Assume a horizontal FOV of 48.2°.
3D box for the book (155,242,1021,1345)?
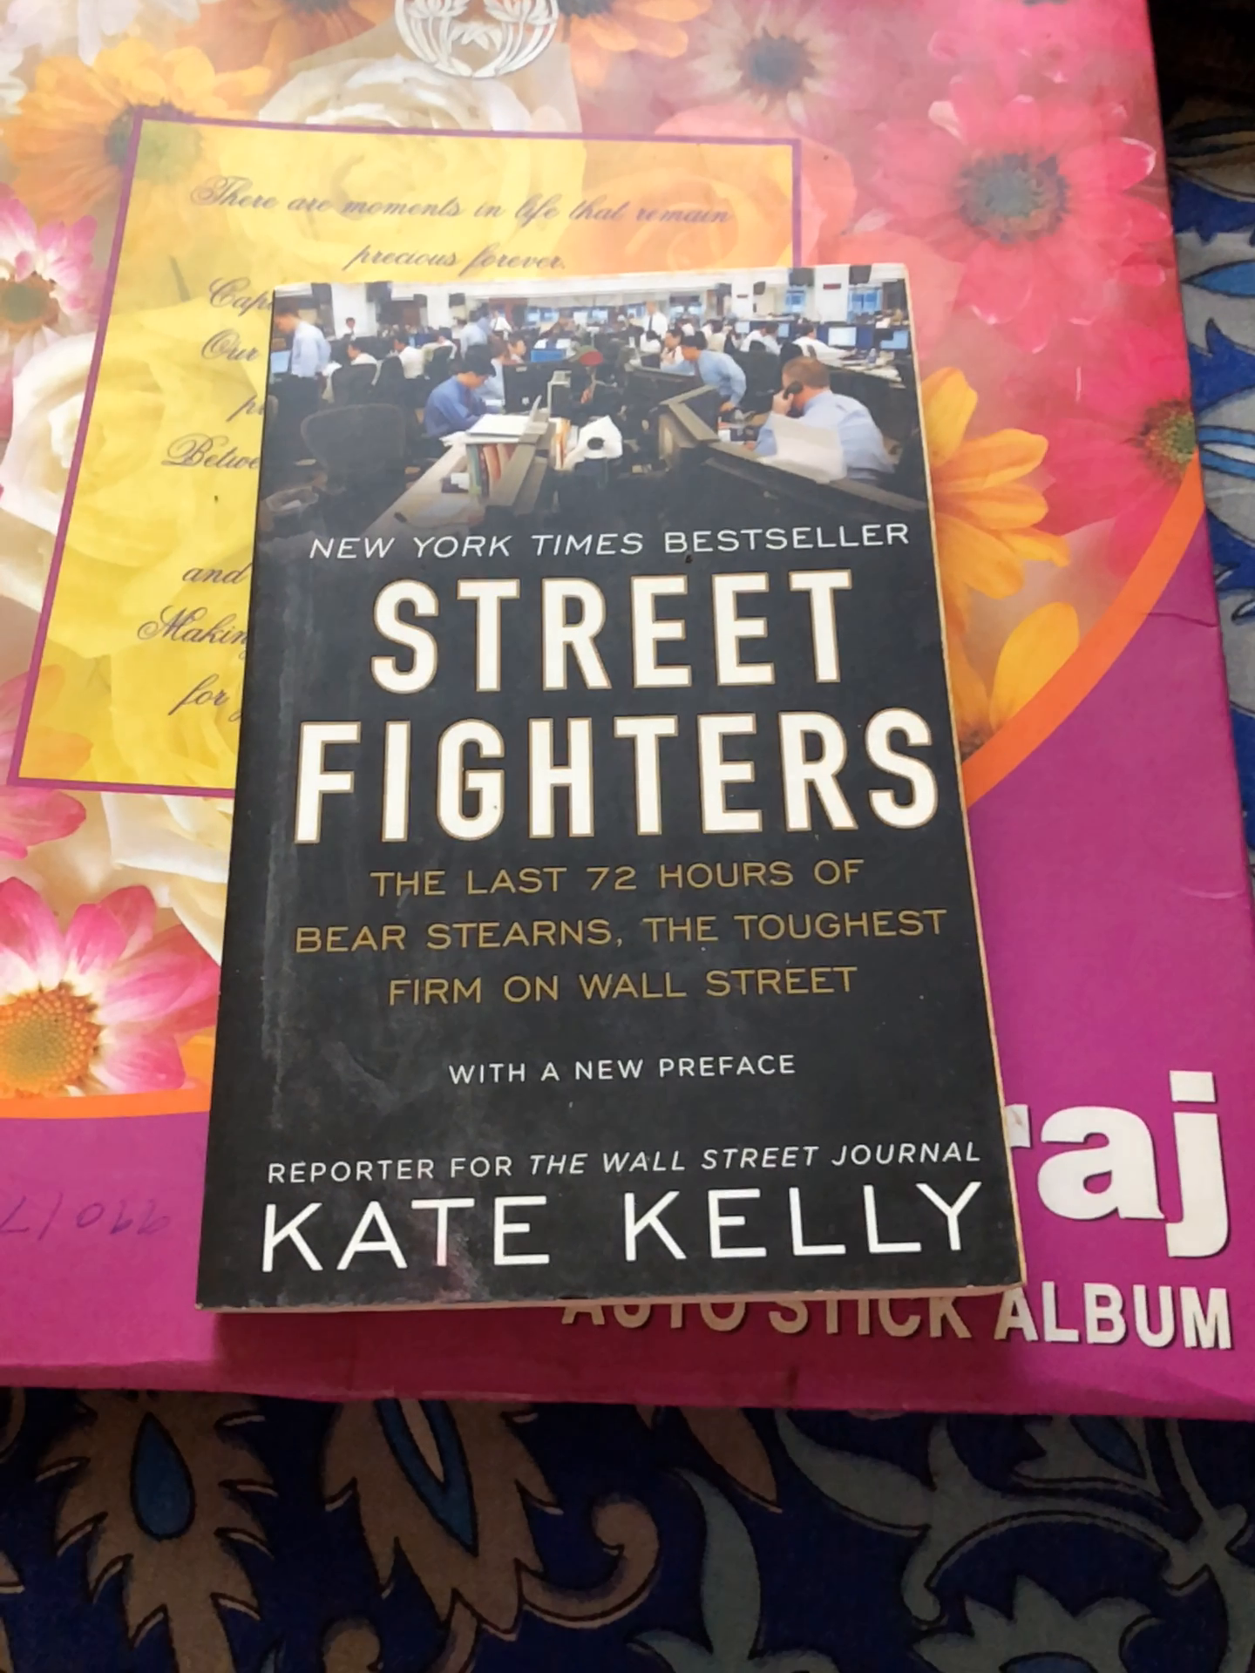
[{"bbox_3d":[-0.009,-0.015,0.273,0.140,0.030,0.210,-3,71,4],"label":"book"}]
